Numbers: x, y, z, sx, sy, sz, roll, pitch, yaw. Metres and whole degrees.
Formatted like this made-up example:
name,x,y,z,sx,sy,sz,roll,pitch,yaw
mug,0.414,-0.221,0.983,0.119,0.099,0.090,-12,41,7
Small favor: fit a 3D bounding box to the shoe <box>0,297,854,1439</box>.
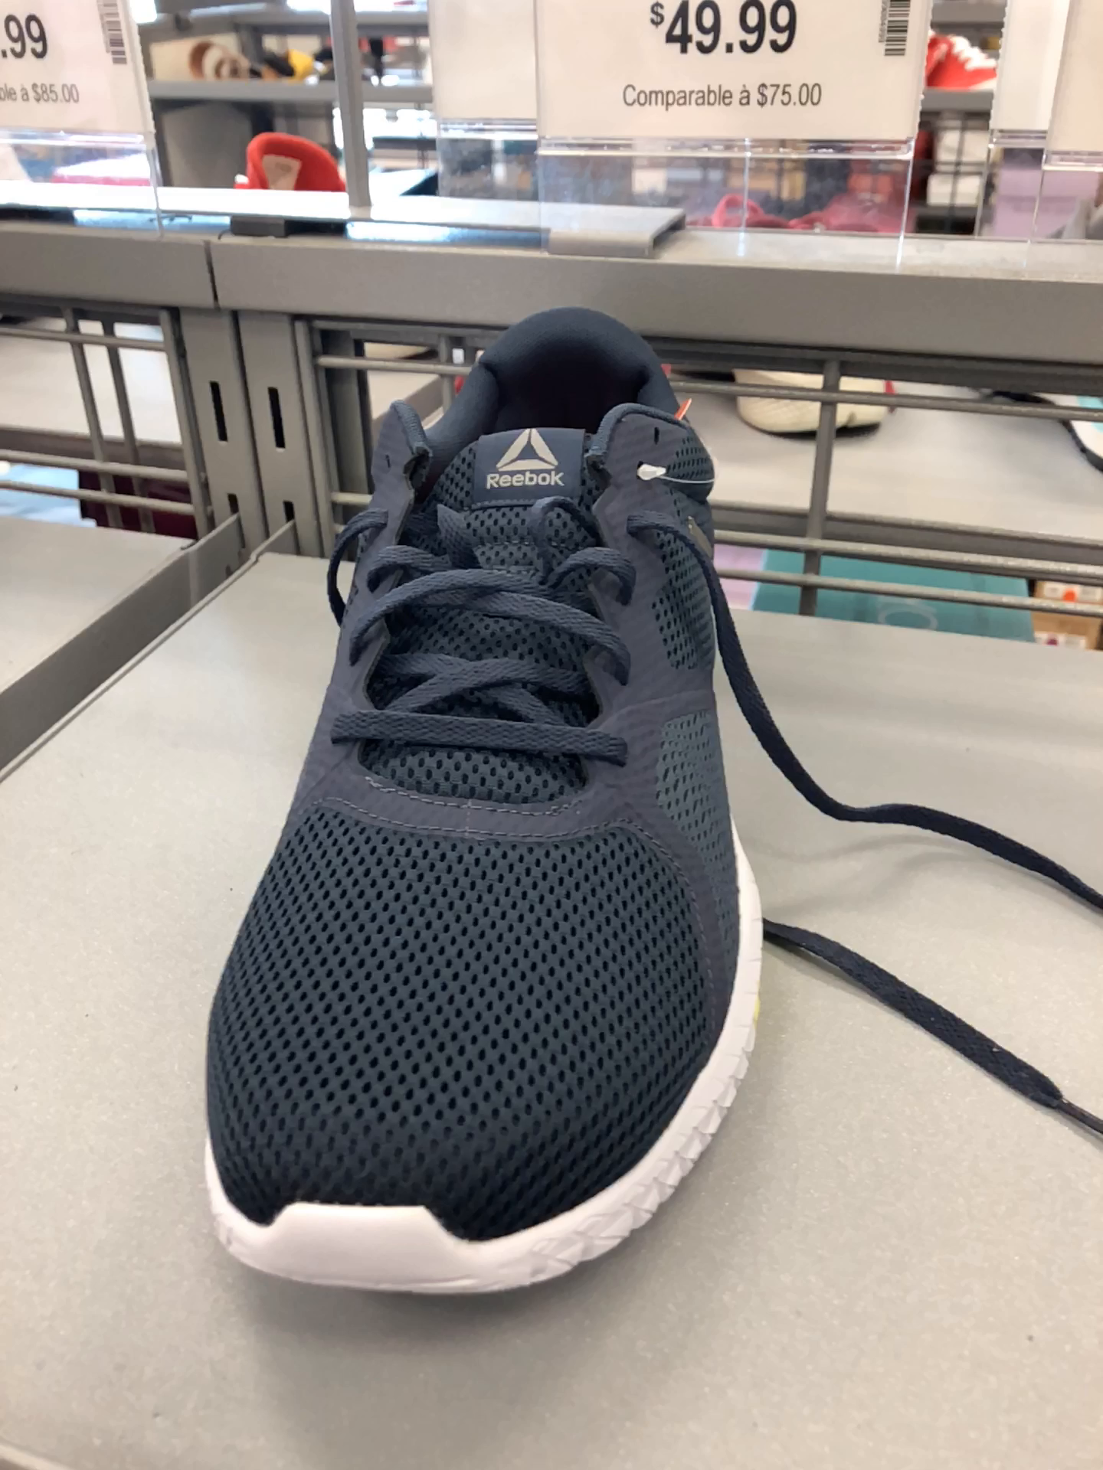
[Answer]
name,x,y,z,sx,sy,sz,roll,pitch,yaw
shoe,0.002,-0.019,0.316,0.120,0.109,0.323,4,32,8
